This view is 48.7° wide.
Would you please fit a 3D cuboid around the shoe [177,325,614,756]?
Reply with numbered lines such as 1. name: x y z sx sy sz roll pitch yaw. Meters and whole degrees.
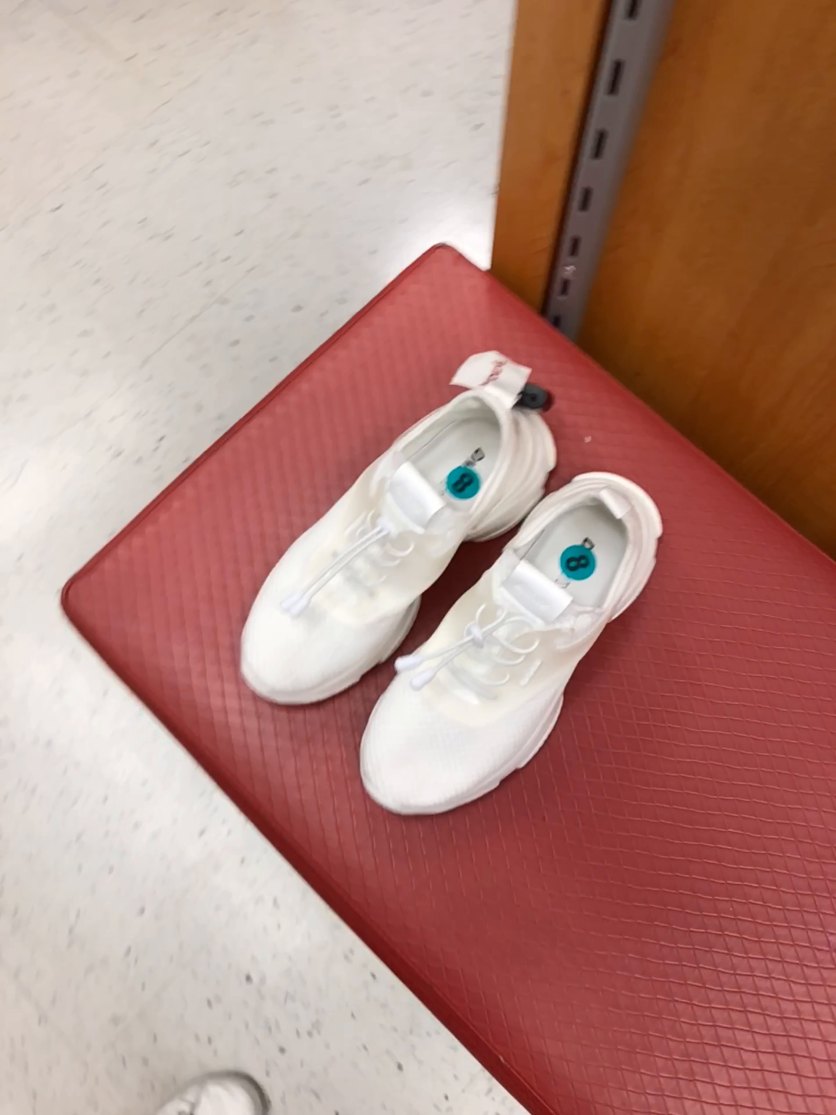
1. shoe: -0.010 -0.009 0.635 0.112 0.110 0.277 43 78 12

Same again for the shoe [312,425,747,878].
1. shoe: 0.072 0.063 0.612 0.109 0.110 0.277 41 78 12
